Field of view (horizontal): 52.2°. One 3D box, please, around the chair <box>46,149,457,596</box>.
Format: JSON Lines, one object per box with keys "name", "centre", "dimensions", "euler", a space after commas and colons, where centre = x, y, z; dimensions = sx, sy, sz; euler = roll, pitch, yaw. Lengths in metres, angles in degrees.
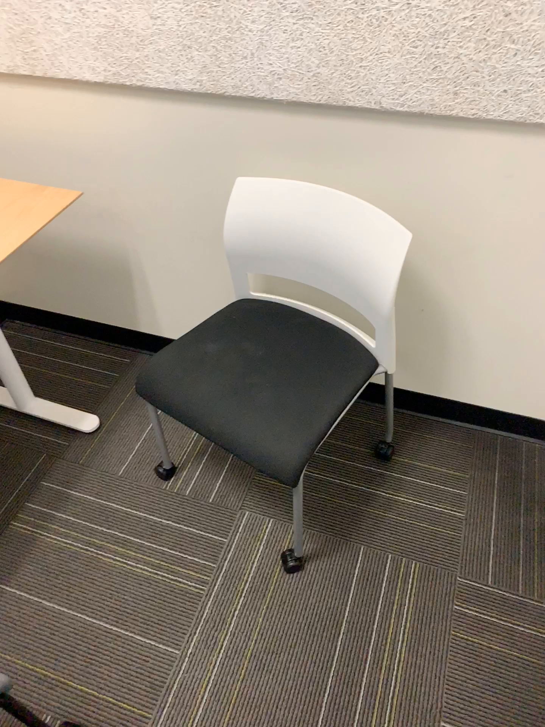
{"name": "chair", "centre": [-0.012, 0.009, 1.440], "dimensions": [0.622, 0.775, 0.622], "euler": [24, 51, 24]}
